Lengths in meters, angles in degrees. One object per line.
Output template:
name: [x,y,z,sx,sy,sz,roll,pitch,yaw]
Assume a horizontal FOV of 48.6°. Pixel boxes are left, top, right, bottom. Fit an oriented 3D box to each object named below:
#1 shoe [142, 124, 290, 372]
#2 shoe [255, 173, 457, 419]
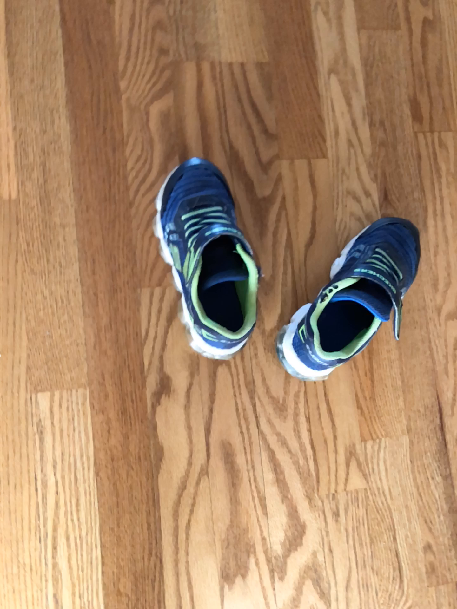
shoe: [-0.019,-0.047,0.476,0.093,0.095,0.203,-9,86,-11]
shoe: [0.136,-0.007,0.496,0.093,0.087,0.212,40,79,-4]
